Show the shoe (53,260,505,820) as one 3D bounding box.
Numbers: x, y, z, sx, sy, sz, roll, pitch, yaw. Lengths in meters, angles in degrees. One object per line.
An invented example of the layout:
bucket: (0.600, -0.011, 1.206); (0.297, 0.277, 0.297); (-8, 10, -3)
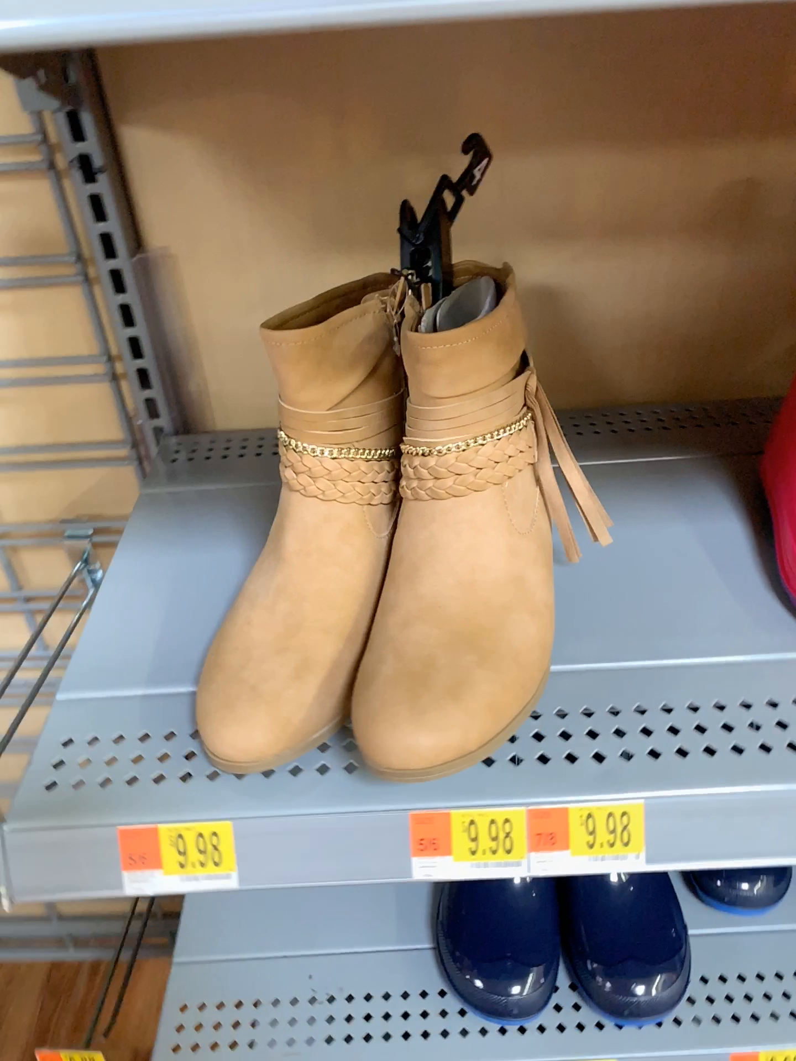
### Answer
shoe: (-0.029, -0.011, 0.396); (0.088, 0.161, 0.218); (14, 40, 23)

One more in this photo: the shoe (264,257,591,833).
shoe: (0.033, -0.013, 0.391); (0.083, 0.154, 0.239); (7, 38, 15)
